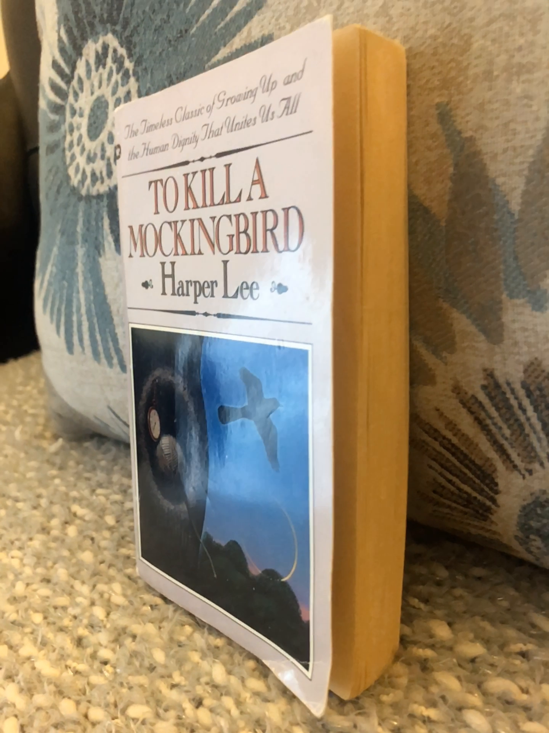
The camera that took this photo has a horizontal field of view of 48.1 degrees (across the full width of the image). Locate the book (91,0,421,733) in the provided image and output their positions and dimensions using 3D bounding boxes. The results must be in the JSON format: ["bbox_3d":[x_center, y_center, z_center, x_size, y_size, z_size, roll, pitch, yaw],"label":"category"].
[{"bbox_3d":[-0.014,-0.001,0.188,0.033,0.166,0.112,-6,10,-39],"label":"book"}]
